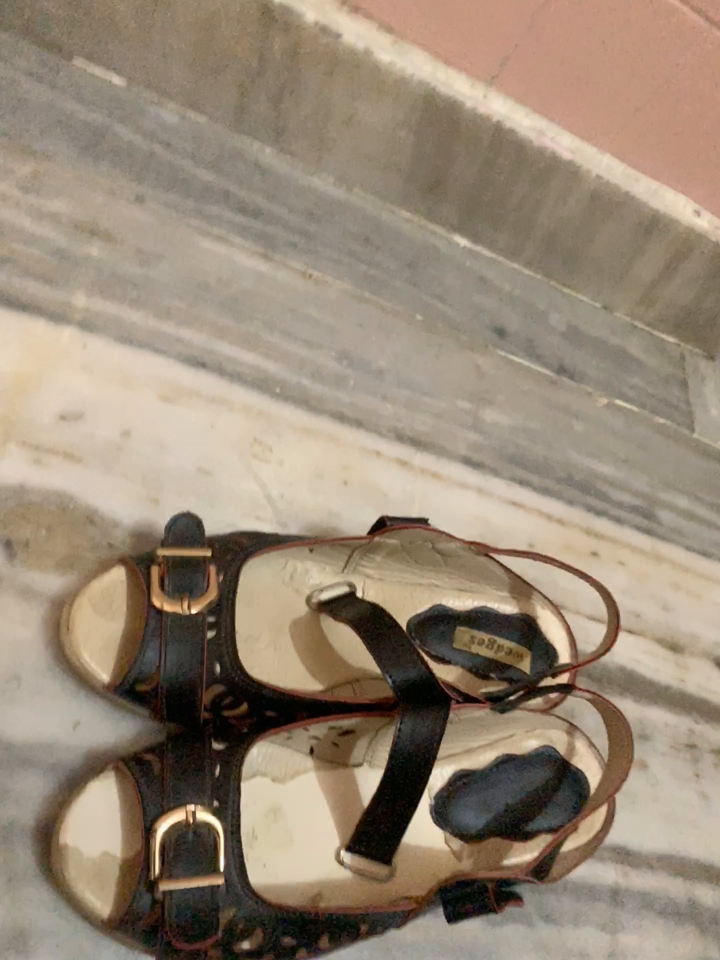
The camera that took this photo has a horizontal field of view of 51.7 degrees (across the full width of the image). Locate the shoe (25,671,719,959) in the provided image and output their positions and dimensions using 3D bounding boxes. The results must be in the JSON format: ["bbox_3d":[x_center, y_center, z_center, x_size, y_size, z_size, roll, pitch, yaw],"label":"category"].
[{"bbox_3d":[0.009,0.145,0.315,0.261,0.100,0.100,8,60,-26],"label":"shoe"}]

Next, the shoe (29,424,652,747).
[{"bbox_3d":[-0.006,0.062,0.353,0.261,0.100,0.100,8,60,-26],"label":"shoe"}]
